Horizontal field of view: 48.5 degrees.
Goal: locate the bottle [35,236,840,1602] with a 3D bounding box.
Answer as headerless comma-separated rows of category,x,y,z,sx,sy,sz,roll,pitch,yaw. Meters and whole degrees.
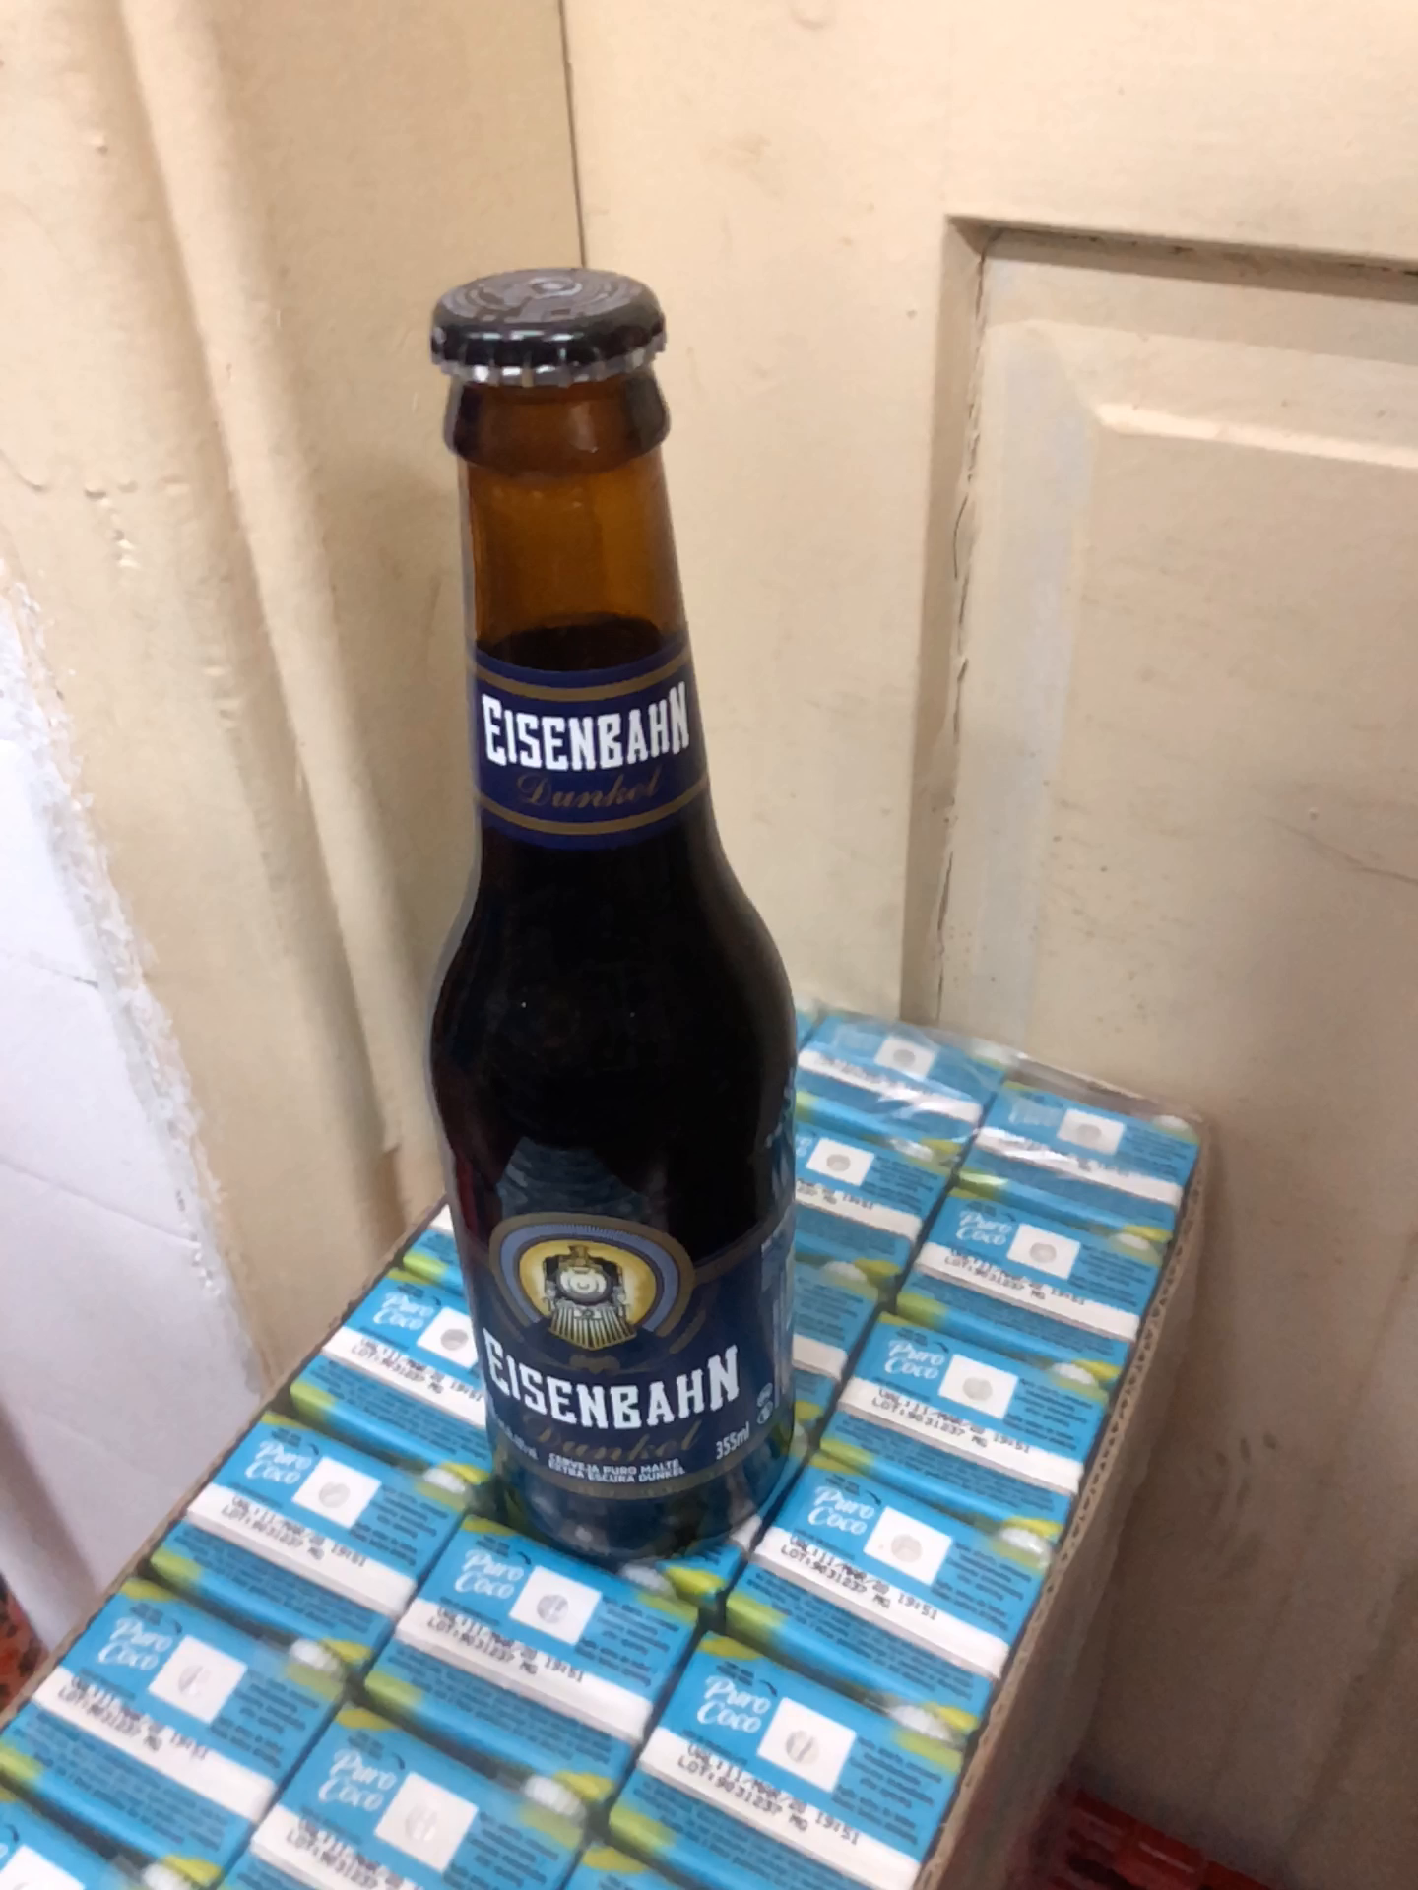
bottle,-0.020,0.011,0.228,0.070,0.199,0.060,4,40,8
